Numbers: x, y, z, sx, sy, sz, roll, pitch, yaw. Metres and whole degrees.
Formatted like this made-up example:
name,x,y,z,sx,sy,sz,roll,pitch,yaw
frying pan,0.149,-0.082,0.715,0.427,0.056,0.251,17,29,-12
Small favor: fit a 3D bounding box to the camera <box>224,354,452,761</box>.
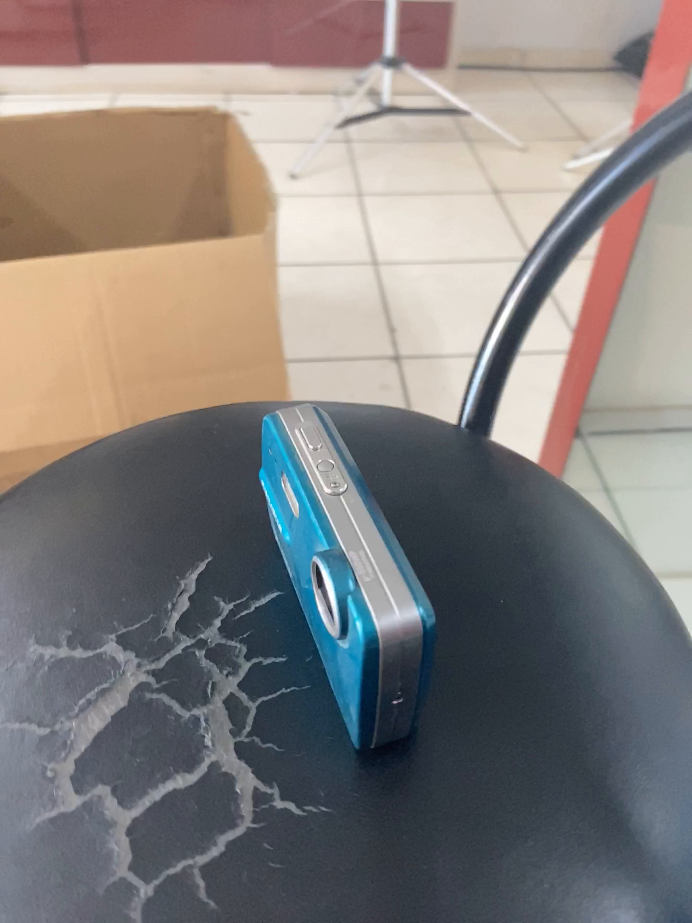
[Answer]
name,x,y,z,sx,sy,sz,roll,pitch,yaw
camera,-0.008,0.026,0.224,0.030,0.070,0.100,-14,45,-16
